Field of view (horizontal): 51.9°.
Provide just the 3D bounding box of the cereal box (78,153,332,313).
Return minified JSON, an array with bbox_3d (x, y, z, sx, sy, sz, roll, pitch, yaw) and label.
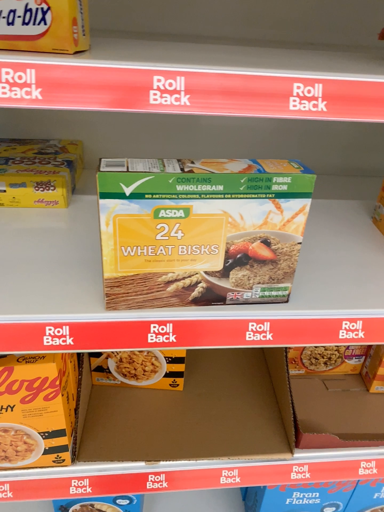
[{"bbox_3d":[0.011,-0.027,0.484,0.270,0.178,0.061,-2,32,-10],"label":"cereal box"}]
